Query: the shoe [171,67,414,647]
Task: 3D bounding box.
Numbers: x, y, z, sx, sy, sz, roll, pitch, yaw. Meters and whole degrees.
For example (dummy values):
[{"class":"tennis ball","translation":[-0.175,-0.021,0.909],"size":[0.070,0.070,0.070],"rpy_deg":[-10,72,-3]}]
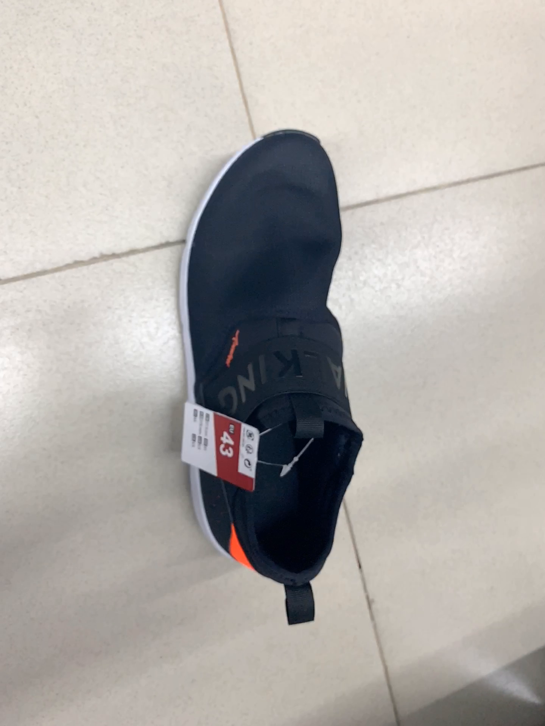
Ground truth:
[{"class":"shoe","translation":[0.001,-0.002,0.345],"size":[0.110,0.120,0.280],"rpy_deg":[0,93,-16]}]
